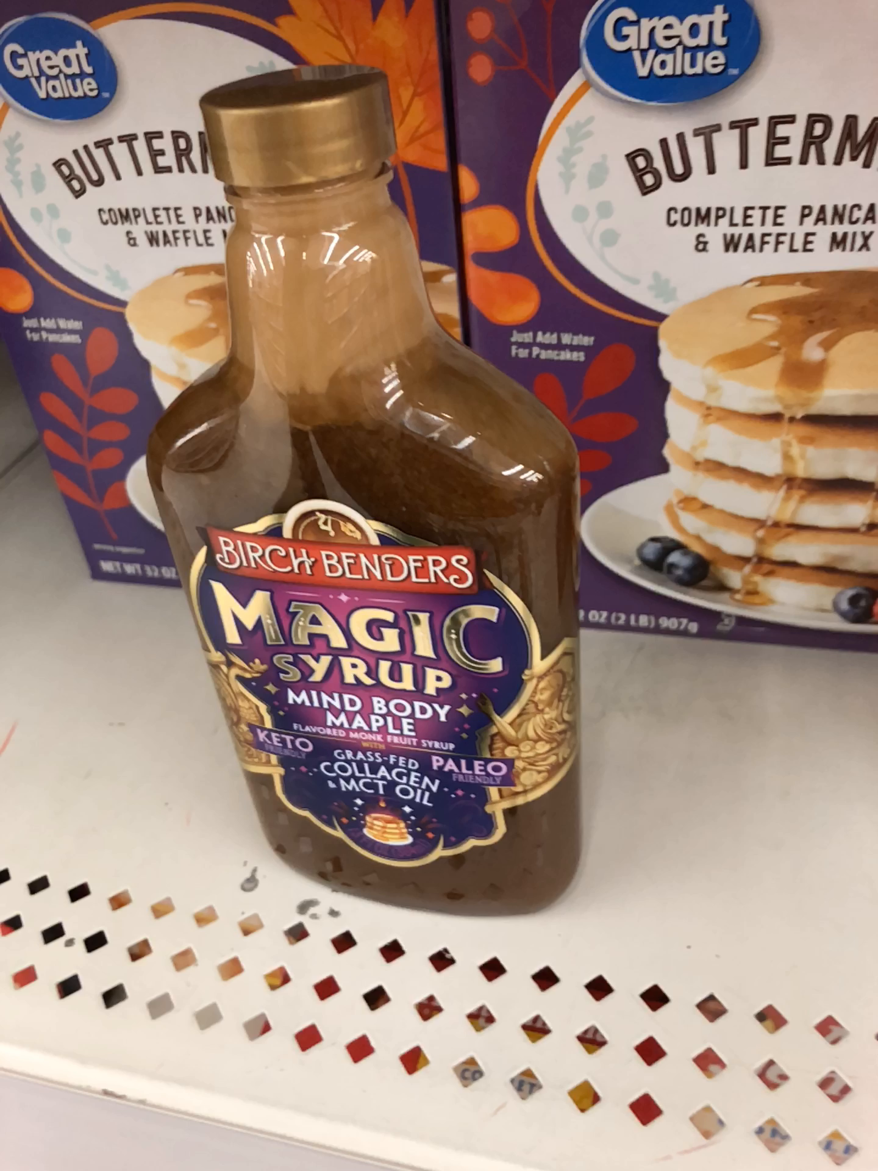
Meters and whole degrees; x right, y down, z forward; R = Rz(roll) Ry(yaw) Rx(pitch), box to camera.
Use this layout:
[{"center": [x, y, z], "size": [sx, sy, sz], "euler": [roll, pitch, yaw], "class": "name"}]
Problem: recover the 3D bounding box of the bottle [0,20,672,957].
[{"center": [-0.010, -0.007, 0.203], "size": [0.100, 0.180, 0.050], "euler": [7, 40, 17], "class": "bottle"}]
